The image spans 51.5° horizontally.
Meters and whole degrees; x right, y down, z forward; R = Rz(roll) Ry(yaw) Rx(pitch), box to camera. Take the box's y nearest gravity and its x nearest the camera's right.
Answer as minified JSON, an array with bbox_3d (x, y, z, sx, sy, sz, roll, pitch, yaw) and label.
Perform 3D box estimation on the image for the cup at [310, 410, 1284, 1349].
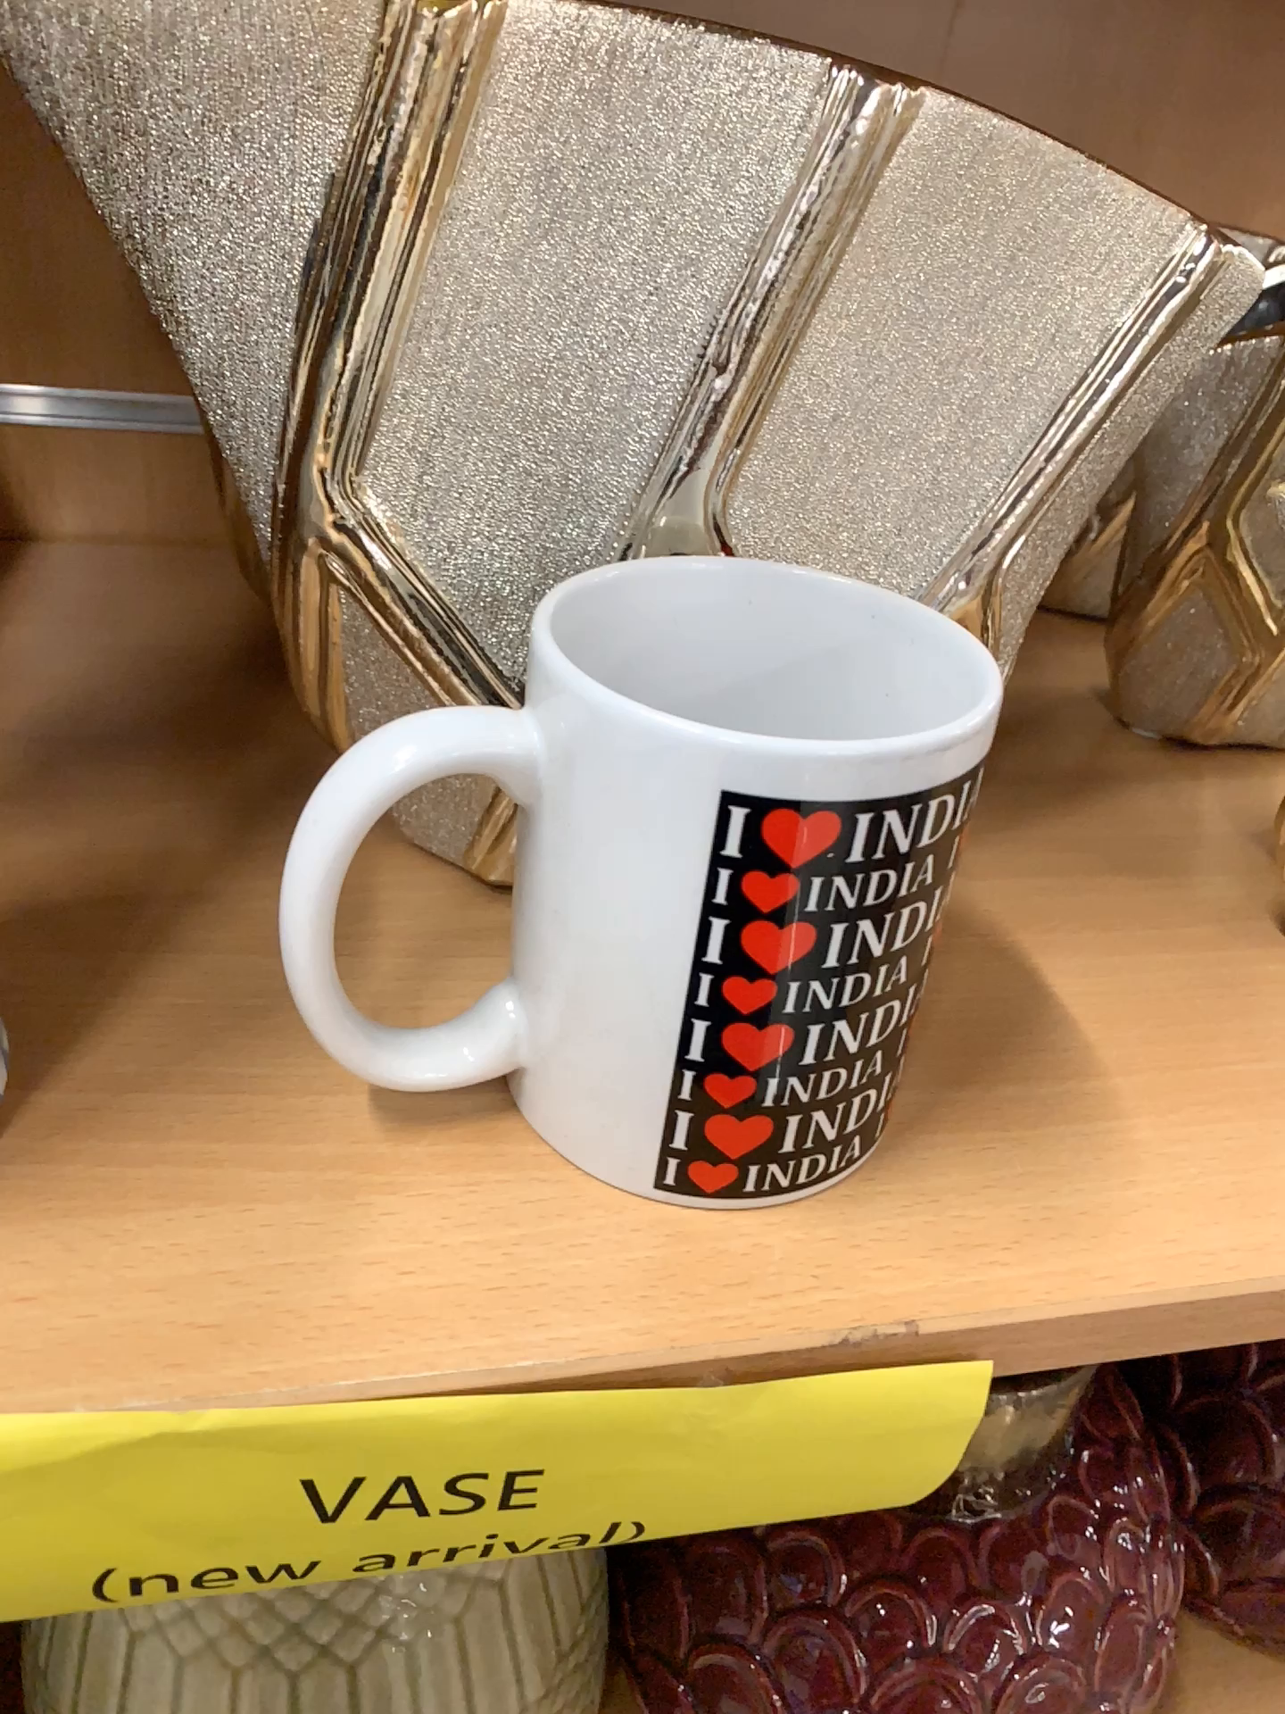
[{"bbox_3d":[0.029,-0.007,0.229,0.130,0.090,0.090,-23,31,-14],"label":"cup"}]
